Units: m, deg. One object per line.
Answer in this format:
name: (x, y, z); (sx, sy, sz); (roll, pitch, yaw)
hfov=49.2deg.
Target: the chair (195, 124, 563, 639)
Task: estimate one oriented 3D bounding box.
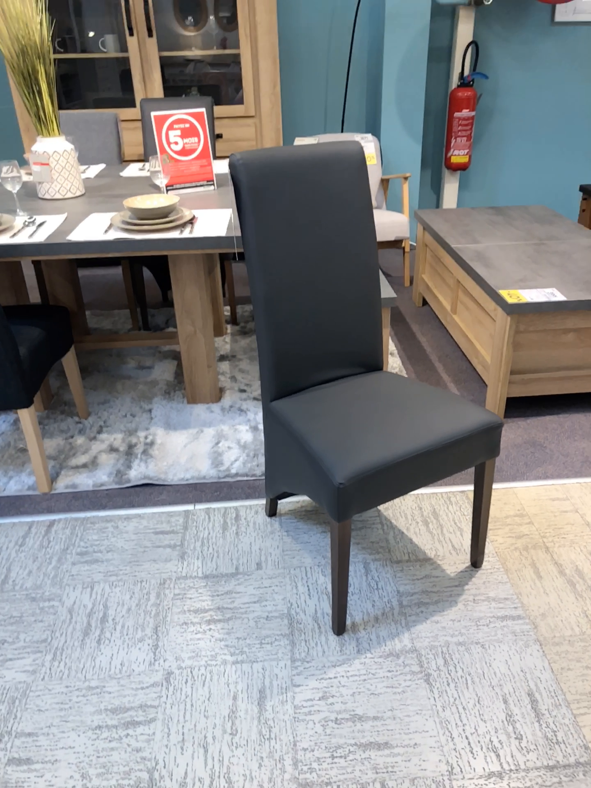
chair: (0.157, -0.069, 1.574); (0.522, 1.014, 0.571); (-17, 31, -26)
